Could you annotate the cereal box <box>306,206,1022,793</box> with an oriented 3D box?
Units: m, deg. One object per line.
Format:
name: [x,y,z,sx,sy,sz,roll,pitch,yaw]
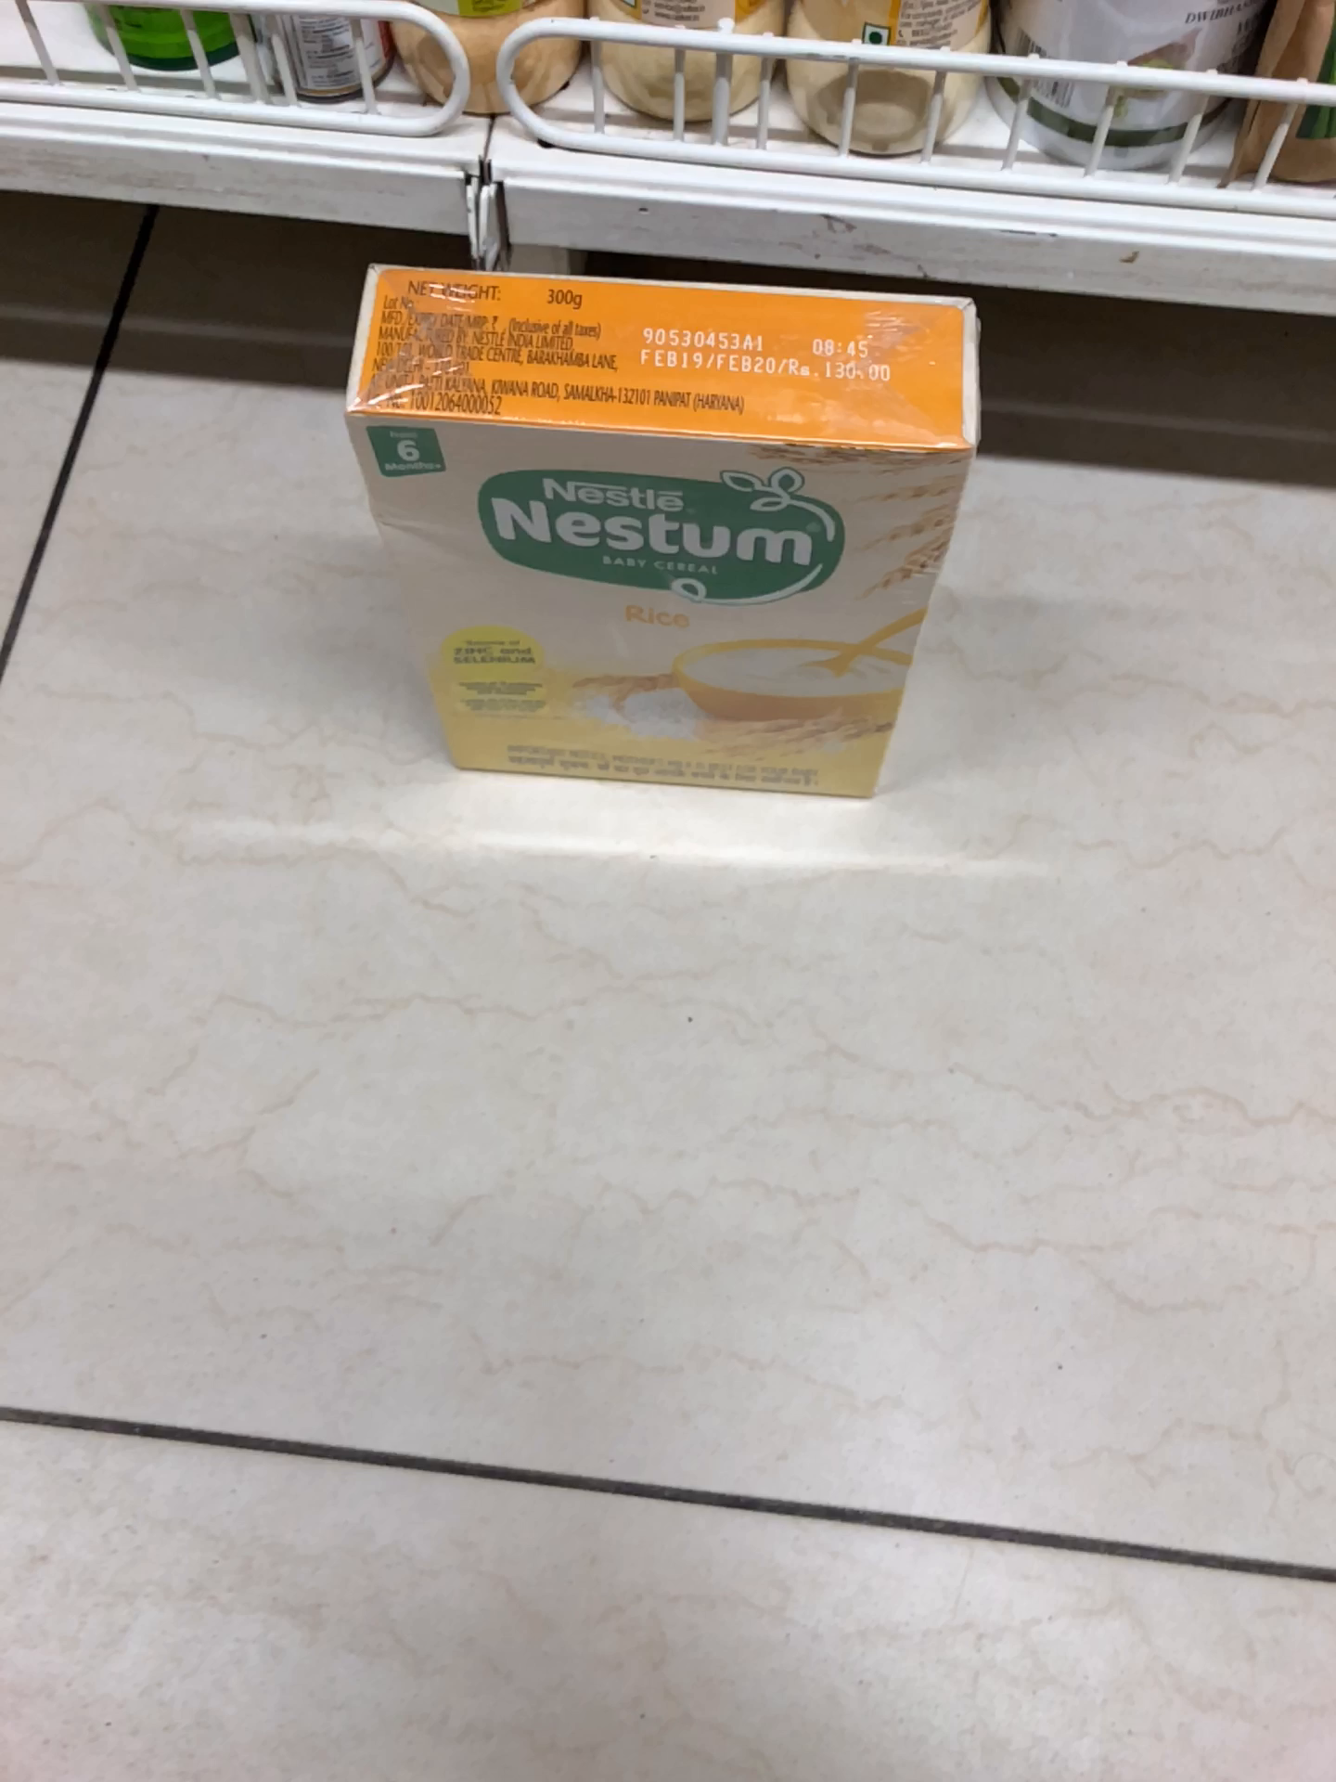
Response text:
cereal box: [0.000,-0.098,0.427,0.160,0.189,0.050,4,67,1]
